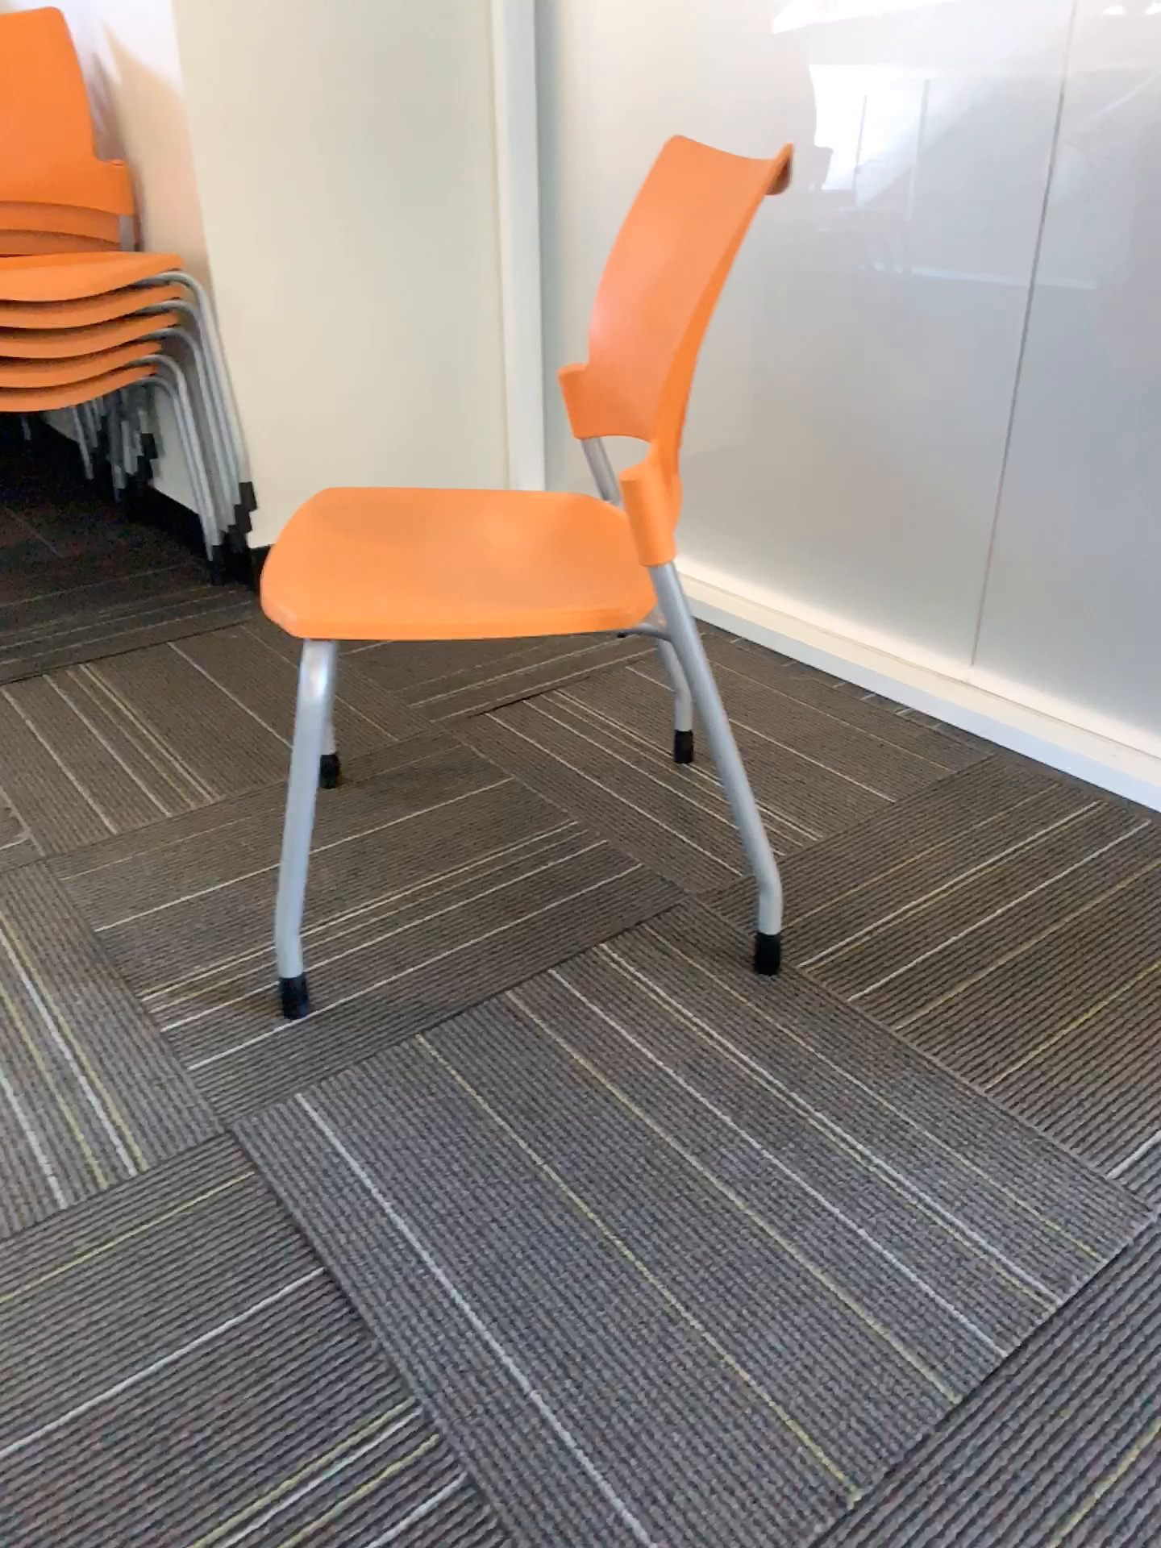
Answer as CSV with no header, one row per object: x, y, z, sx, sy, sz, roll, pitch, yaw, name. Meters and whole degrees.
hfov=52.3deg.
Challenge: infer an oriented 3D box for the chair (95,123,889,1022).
-0.096,-0.288,1.368,0.580,0.805,0.715,-4,29,-6,chair
